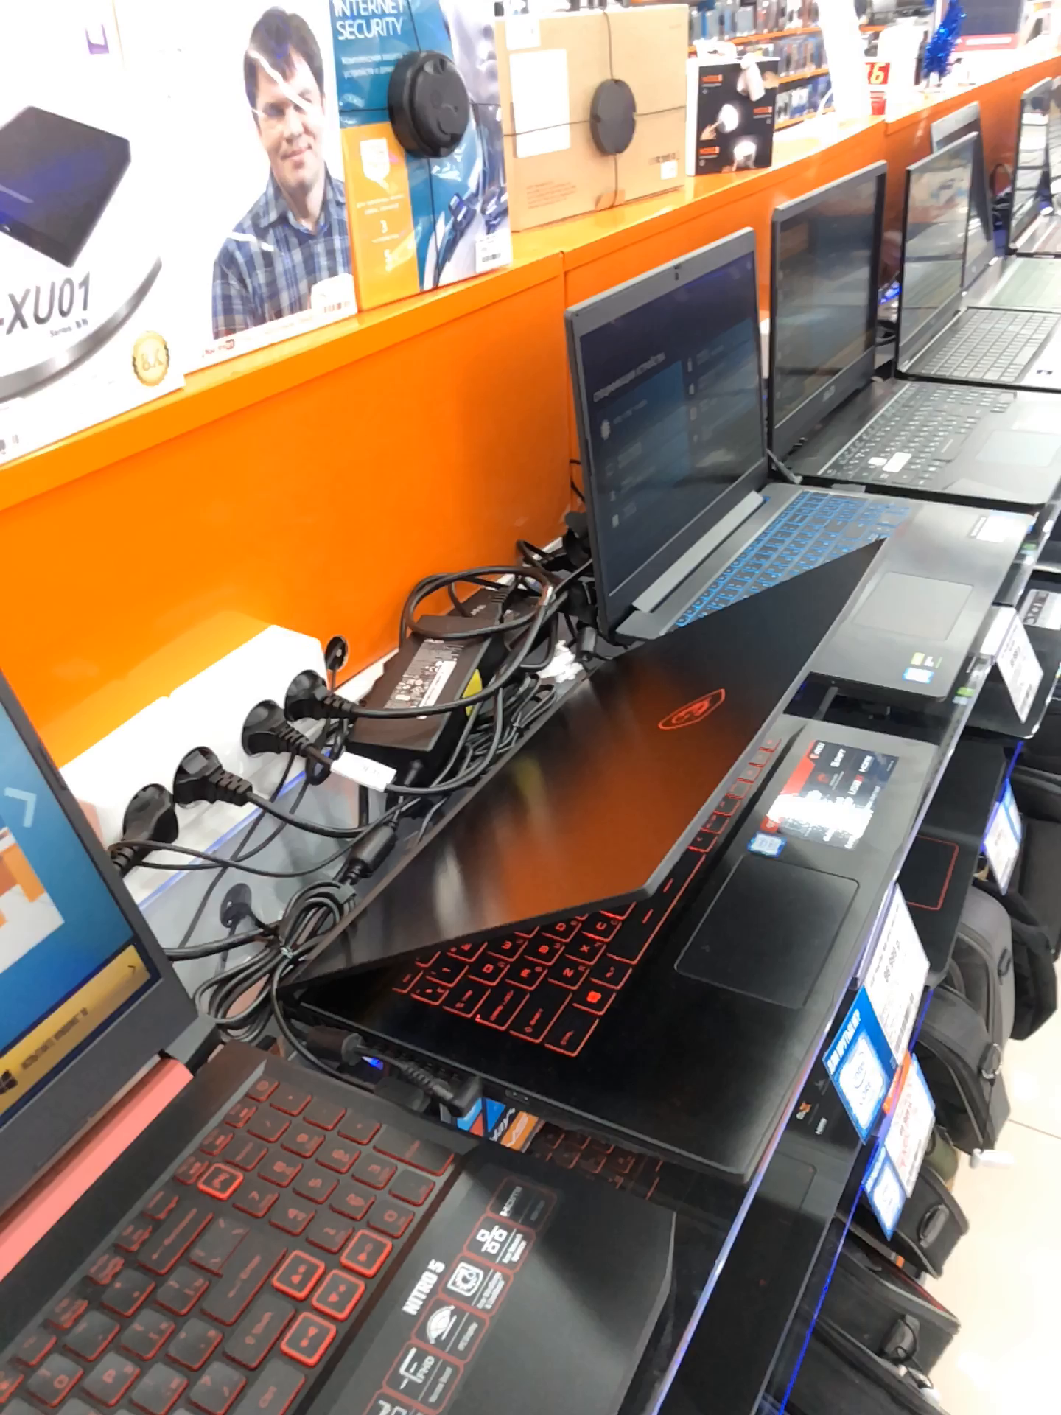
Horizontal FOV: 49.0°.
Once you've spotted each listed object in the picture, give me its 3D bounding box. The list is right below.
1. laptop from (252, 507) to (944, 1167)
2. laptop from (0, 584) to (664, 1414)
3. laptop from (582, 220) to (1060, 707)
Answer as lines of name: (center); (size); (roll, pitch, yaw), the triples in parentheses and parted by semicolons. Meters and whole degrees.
laptop: (0.062, 0.028, 0.625); (0.225, 0.134, 0.348); (13, 34, 26)
laptop: (-0.188, 0.160, 0.335); (0.329, 0.225, 0.366); (12, 33, 26)
laptop: (0.233, -0.220, 0.914); (0.278, 0.228, 0.327); (16, 38, 30)
